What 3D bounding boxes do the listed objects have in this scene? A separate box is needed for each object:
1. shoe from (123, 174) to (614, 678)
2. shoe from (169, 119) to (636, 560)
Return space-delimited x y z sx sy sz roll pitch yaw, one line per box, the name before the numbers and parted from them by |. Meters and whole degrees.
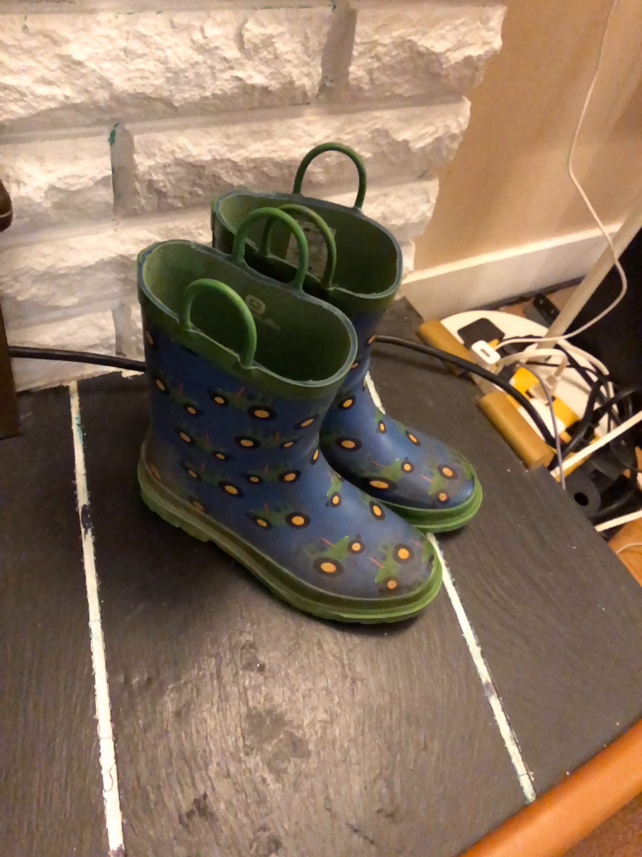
shoe | 0.005 0.016 0.440 0.230 0.239 0.101 27 51 6
shoe | 0.035 -0.042 0.481 0.240 0.229 0.101 18 50 -1
